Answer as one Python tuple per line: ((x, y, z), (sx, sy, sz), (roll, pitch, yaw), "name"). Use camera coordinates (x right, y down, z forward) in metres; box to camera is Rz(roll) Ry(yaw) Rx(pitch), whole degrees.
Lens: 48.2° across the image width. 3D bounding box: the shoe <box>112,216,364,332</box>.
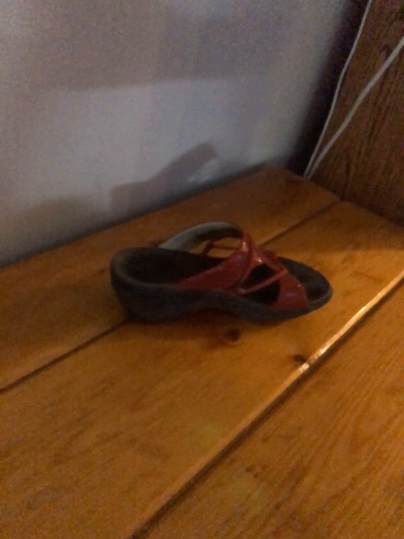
((0.034, 0.000, 0.498), (0.250, 0.070, 0.100), (-1, 40, -18), "shoe")
